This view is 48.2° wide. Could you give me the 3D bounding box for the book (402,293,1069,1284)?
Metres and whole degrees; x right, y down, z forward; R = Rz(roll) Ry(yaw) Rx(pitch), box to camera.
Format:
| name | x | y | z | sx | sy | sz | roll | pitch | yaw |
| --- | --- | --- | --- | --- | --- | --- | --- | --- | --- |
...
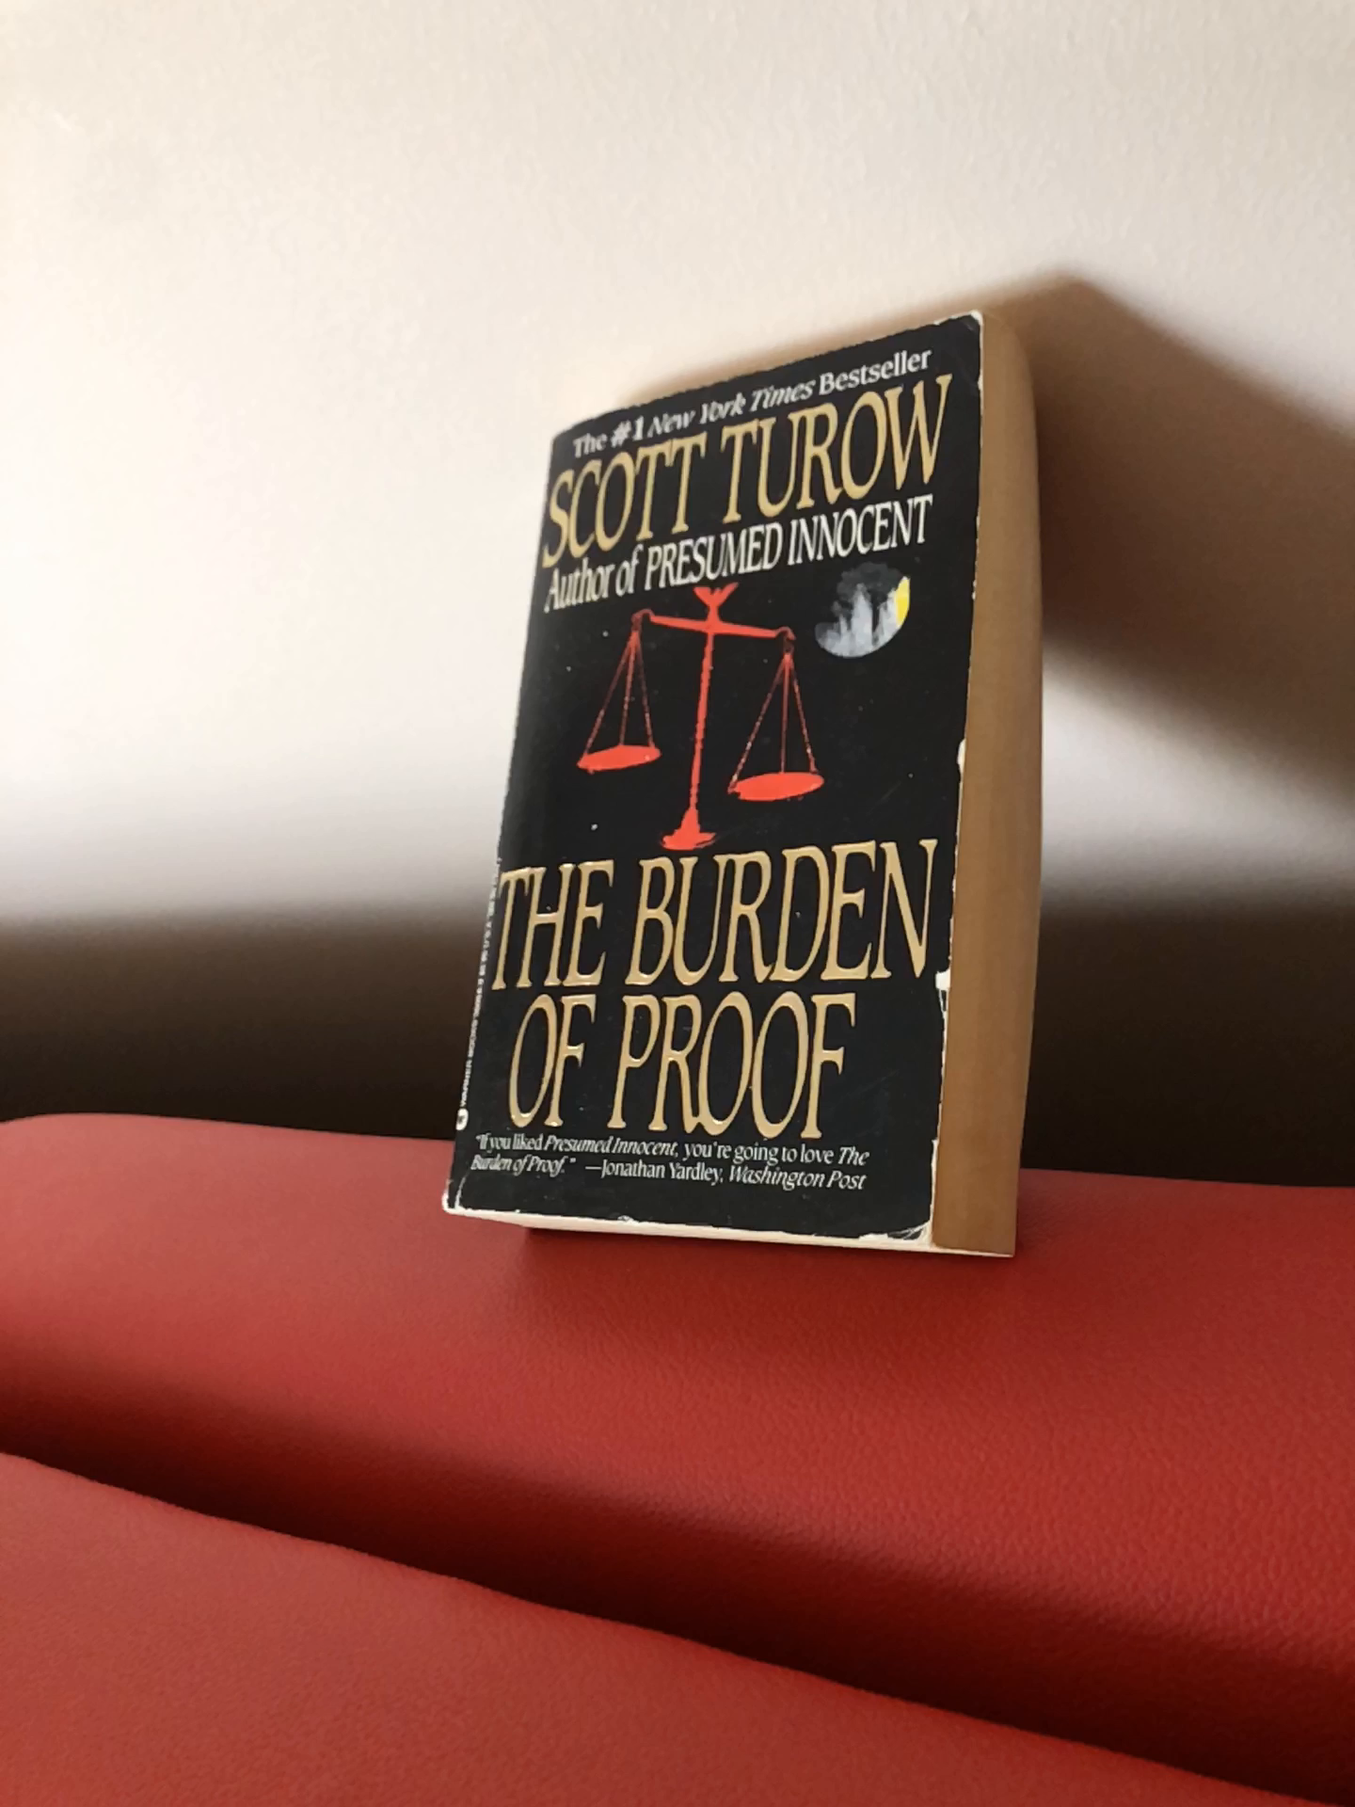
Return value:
| name | x | y | z | sx | sy | sz | roll | pitch | yaw |
| --- | --- | --- | --- | --- | --- | --- | --- | --- | --- |
| book | 0.014 | -0.019 | 0.295 | 0.106 | 0.045 | 0.171 | -4 | 71 | 31 |
